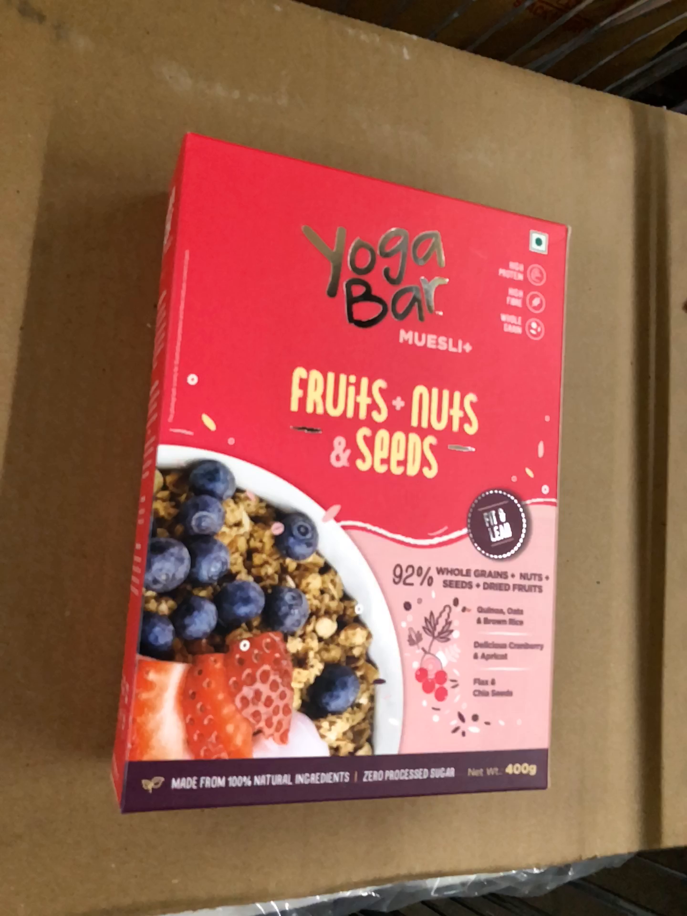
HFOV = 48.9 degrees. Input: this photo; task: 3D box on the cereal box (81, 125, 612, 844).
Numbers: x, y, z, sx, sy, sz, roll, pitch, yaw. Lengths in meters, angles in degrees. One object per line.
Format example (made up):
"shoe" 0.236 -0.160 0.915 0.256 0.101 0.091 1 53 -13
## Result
"cereal box" 0.006 0.014 0.278 0.170 0.060 0.210 7 84 -21
